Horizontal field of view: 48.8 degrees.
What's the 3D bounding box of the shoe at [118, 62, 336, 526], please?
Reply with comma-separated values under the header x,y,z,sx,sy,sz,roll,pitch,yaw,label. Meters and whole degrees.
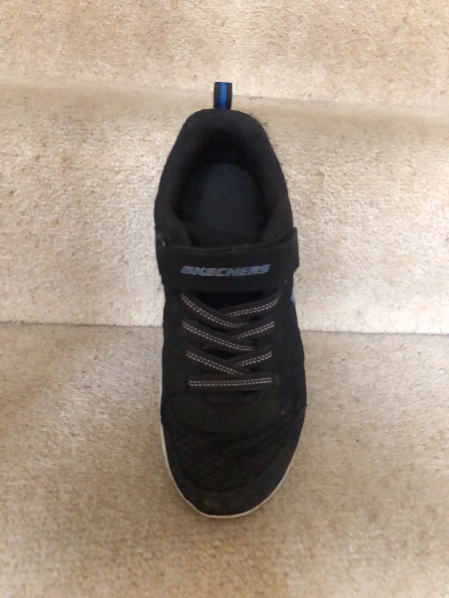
x,y,z,sx,sy,sz,roll,pitch,yaw,label
0.000,-0.003,0.279,0.090,0.221,0.100,-2,-14,1,shoe
